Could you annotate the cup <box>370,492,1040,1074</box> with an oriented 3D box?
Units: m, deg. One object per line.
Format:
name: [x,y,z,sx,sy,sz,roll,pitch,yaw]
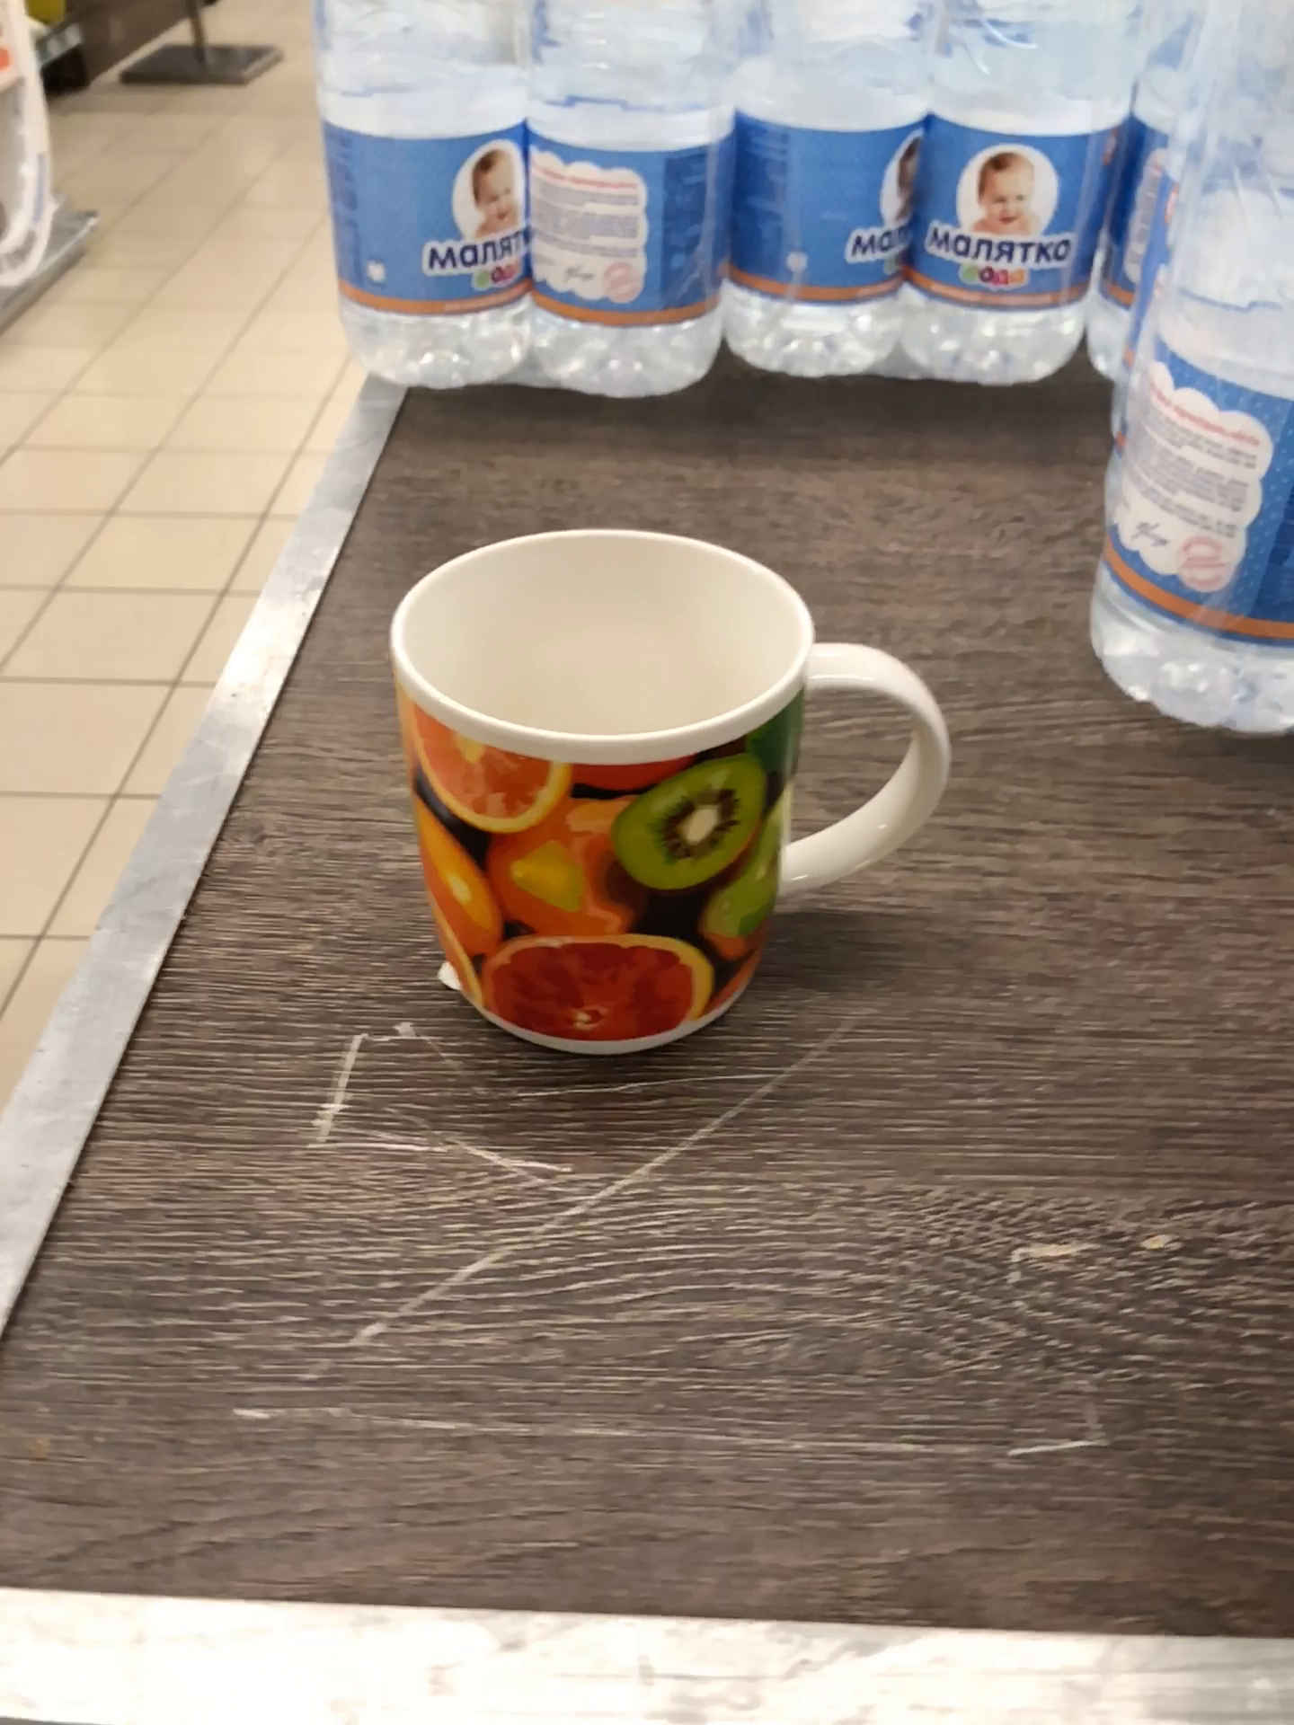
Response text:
cup: [0.005,-0.021,0.327,0.126,0.085,0.092,-5,40,-7]
